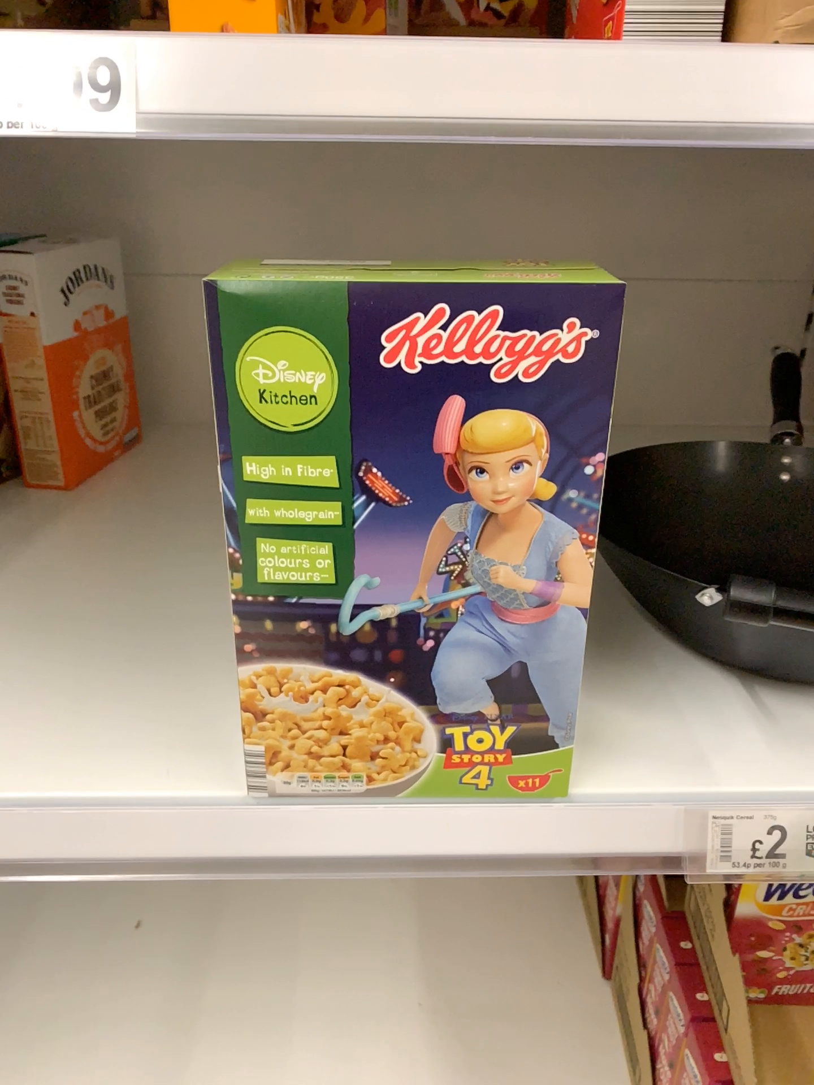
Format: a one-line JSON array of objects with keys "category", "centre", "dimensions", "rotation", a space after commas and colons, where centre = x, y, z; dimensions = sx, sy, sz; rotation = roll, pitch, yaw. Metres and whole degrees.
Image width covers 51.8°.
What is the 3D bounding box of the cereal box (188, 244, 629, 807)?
[{"category": "cereal box", "centre": [-0.001, -0.001, 0.460], "dimensions": [0.190, 0.297, 0.081], "rotation": [1, 24, -1]}]
